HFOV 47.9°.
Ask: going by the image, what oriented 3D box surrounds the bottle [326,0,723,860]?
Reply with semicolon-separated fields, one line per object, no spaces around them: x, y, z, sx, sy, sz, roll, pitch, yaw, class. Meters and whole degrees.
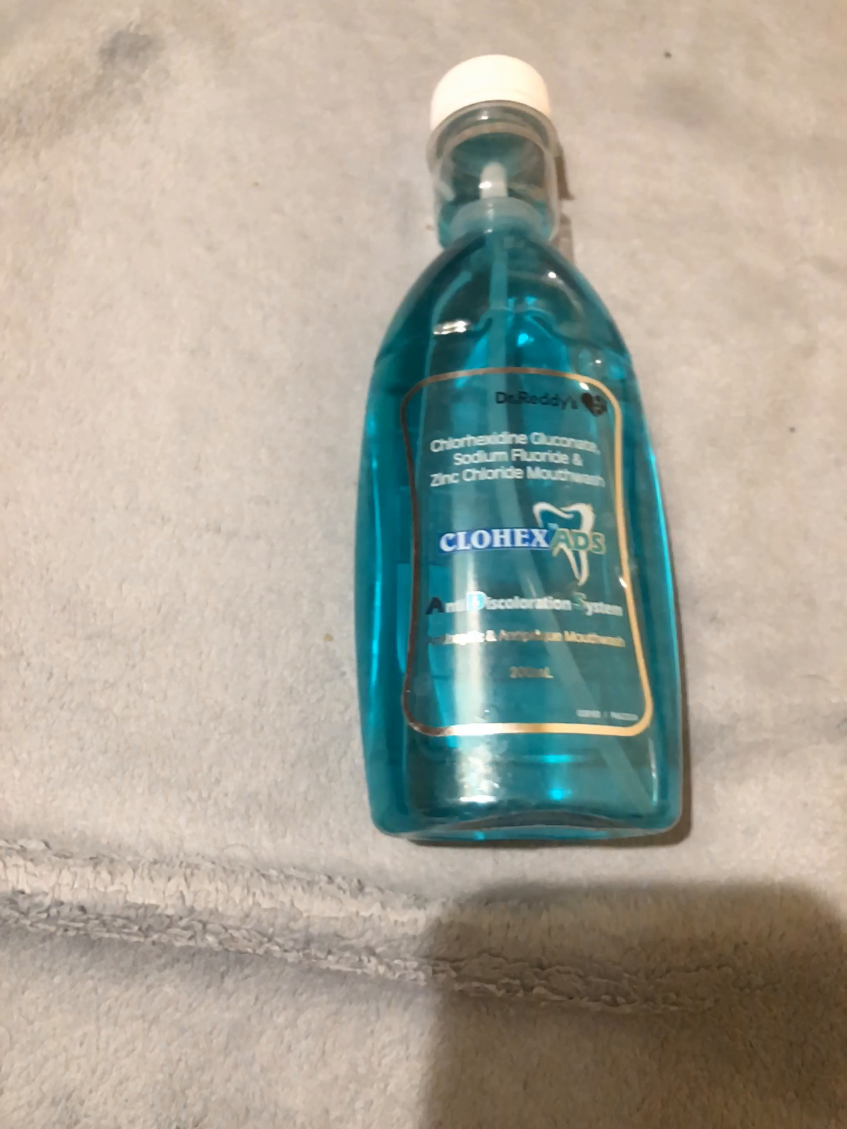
0.014;-0.044;0.219;0.070;0.040;0.210;0;71;-5;bottle
